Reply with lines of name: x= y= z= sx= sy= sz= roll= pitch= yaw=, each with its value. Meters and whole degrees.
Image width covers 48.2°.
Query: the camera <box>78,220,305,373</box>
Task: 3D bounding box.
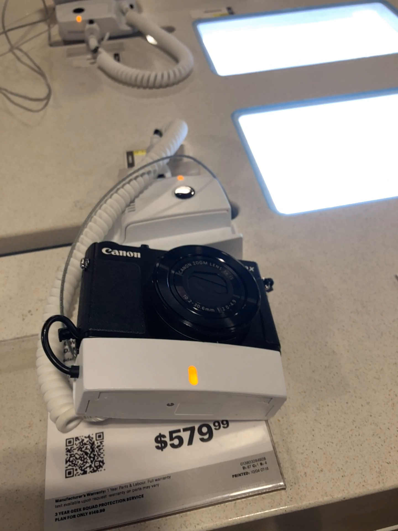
camera: x=-0.006 y=0.015 z=0.222 sx=0.100 sy=0.020 sz=0.070 roll=7 pitch=45 yaw=-17
